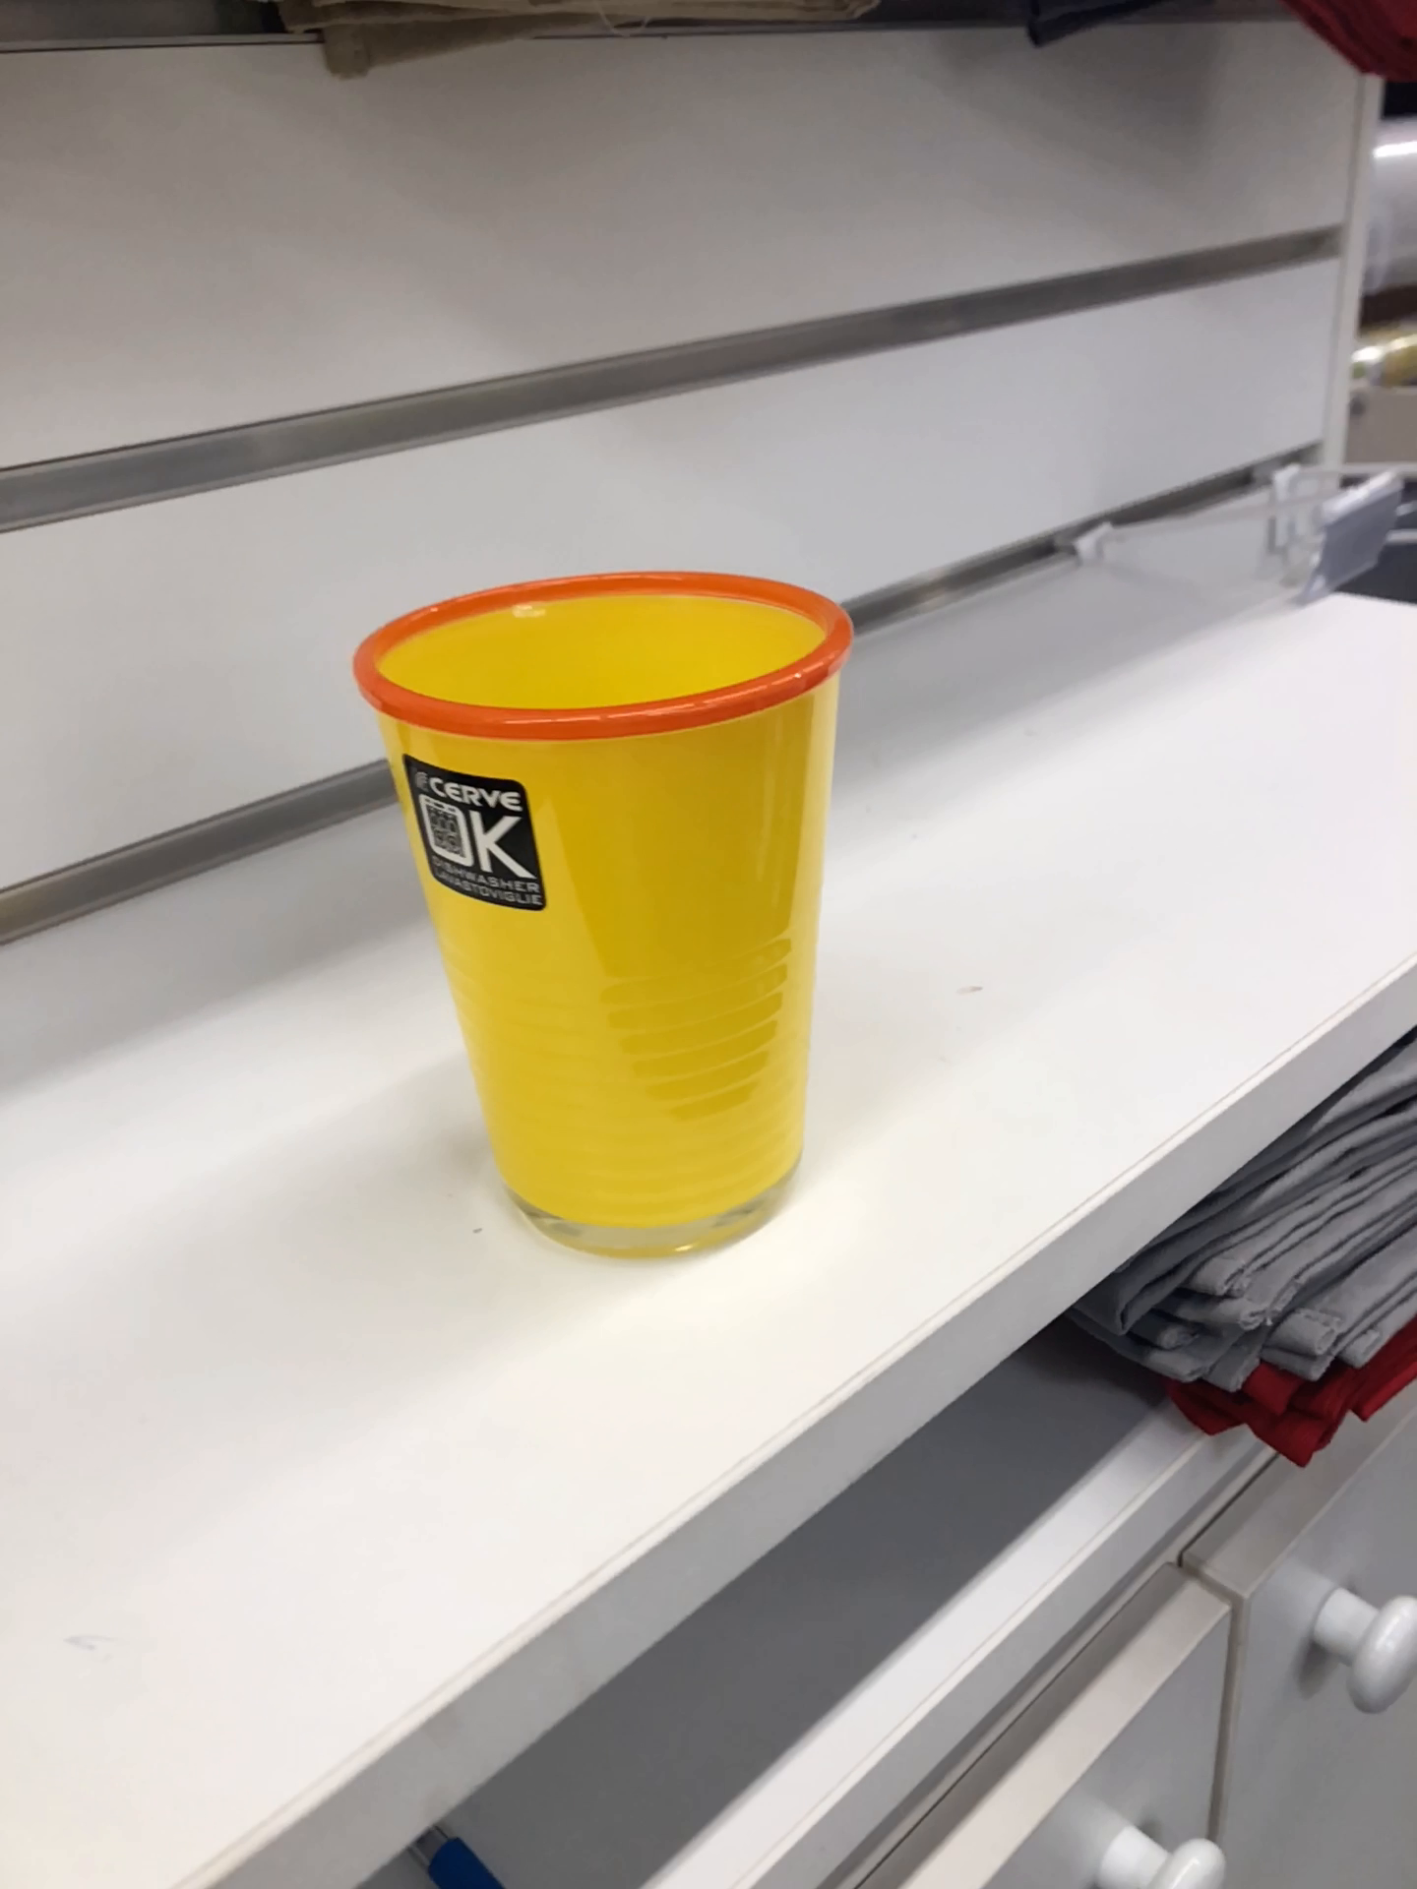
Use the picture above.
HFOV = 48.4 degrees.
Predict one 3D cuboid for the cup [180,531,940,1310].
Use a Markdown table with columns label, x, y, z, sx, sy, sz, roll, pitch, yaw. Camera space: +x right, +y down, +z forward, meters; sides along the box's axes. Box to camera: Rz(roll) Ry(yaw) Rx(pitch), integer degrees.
| label | x | y | z | sx | sy | sz | roll | pitch | yaw |
| --- | --- | --- | --- | --- | --- | --- | --- | --- | --- |
| cup | -0.017 | -0.012 | 0.269 | 0.088 | 0.094 | 0.085 | -3 | 27 | 2 |
